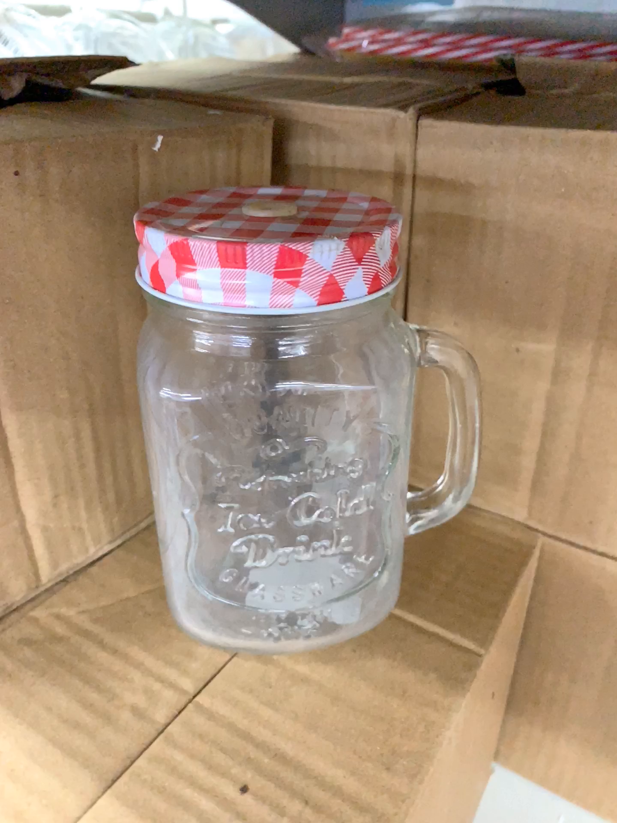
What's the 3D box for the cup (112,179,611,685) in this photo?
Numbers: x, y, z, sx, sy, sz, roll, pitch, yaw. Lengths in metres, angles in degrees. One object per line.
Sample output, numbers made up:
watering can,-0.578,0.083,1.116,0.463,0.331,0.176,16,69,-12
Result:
cup,0.011,0.001,0.192,0.100,0.119,0.081,-3,26,-2
